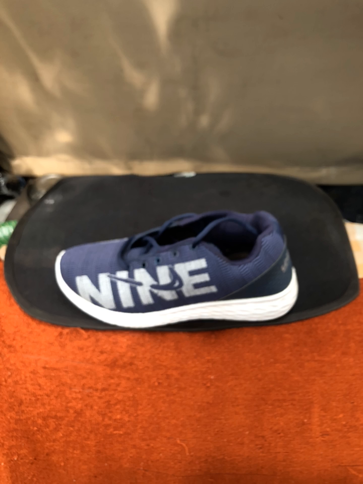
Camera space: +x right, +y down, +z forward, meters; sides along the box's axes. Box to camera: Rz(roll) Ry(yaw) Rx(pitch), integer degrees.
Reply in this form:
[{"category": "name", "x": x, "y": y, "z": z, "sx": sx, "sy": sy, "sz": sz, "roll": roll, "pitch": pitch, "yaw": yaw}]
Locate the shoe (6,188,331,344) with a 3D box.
[{"category": "shoe", "x": -0.008, "y": 0.019, "z": 0.444, "sx": 0.290, "sy": 0.099, "sz": 0.131, "roll": 1, "pitch": 40, "yaw": 7}]
